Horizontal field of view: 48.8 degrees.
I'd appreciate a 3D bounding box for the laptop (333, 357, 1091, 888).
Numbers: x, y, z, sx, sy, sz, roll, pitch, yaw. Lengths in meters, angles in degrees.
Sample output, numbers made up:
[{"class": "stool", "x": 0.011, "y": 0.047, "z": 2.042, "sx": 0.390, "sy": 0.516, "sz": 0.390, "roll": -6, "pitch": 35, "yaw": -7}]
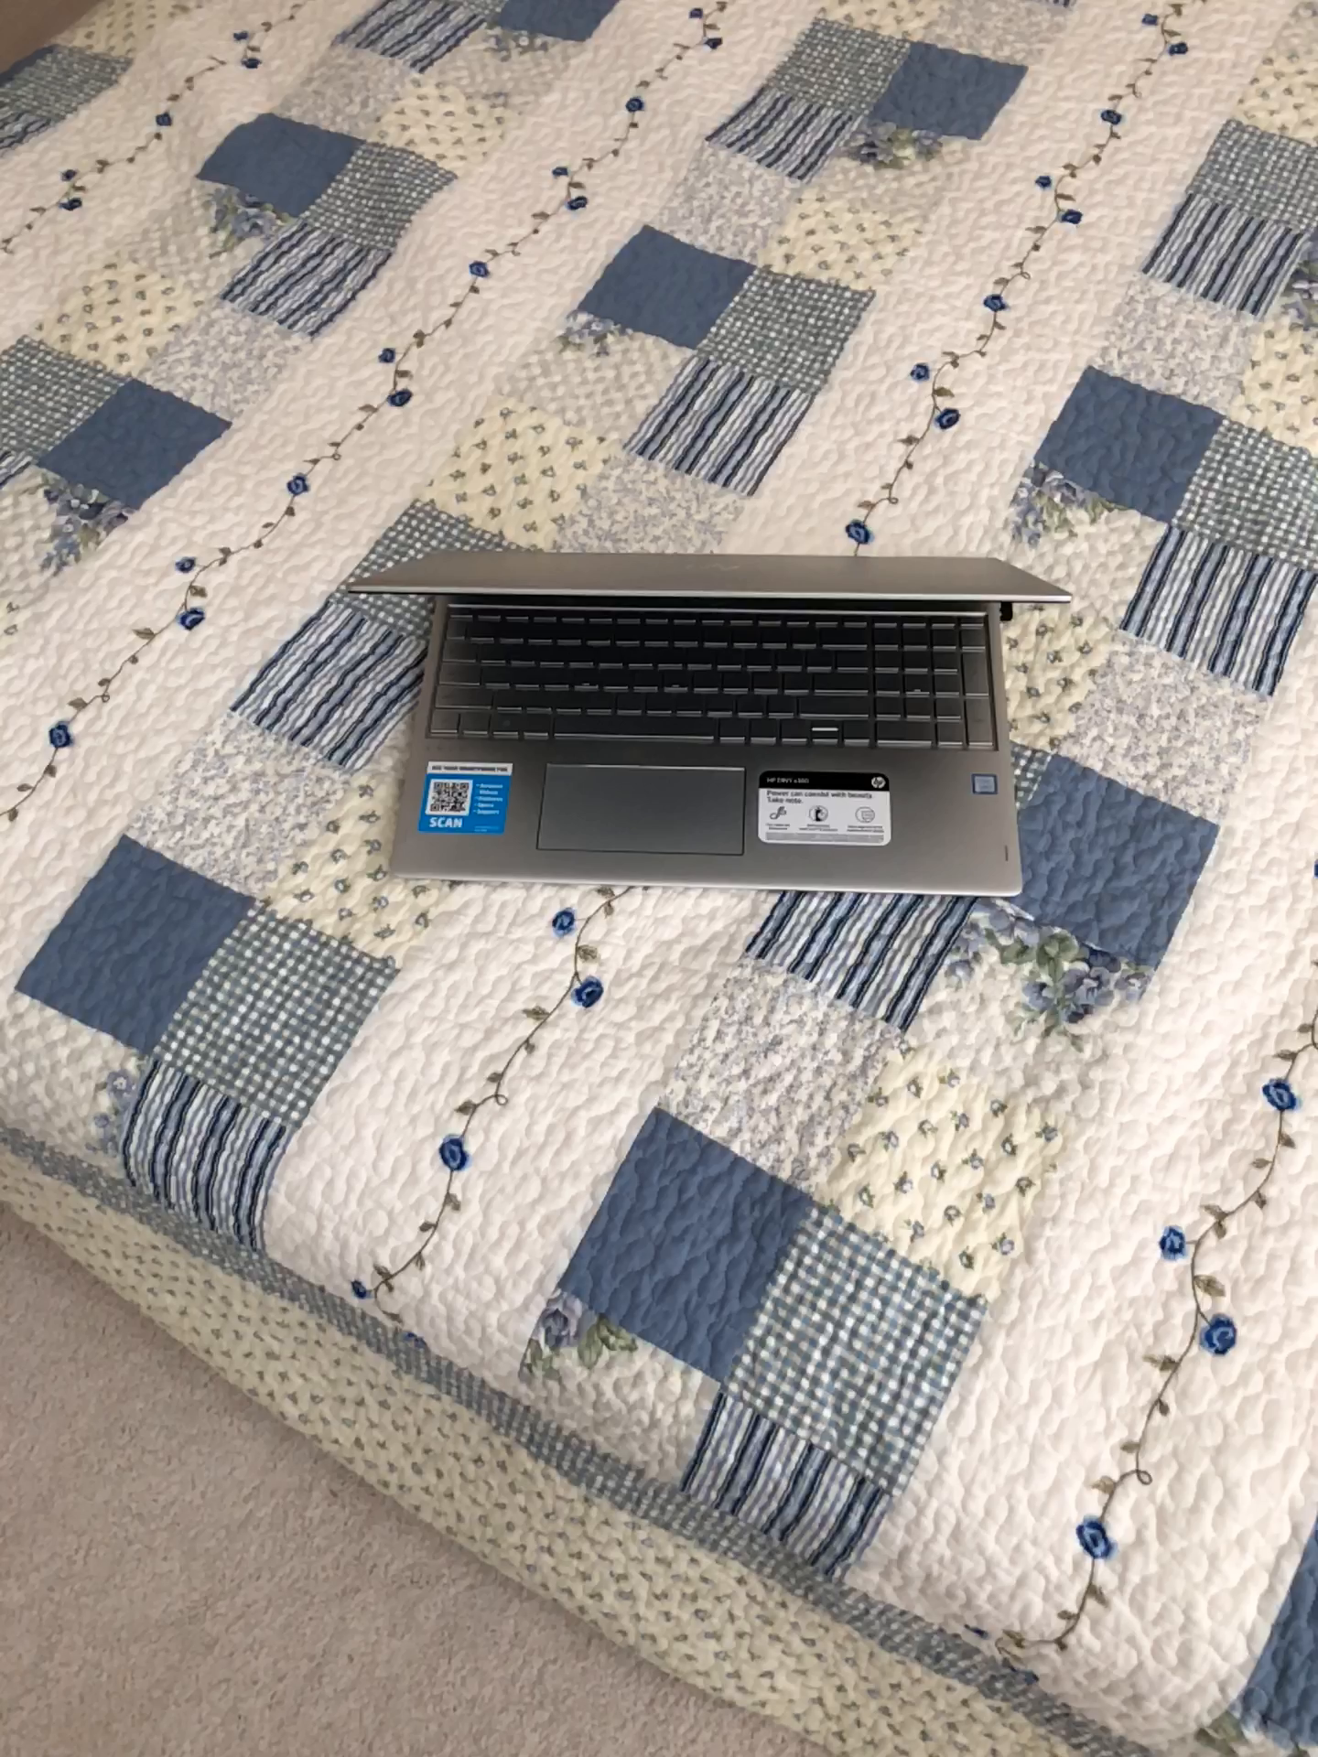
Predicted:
[{"class": "laptop", "x": 0.029, "y": -0.142, "z": 0.799, "sx": 0.348, "sy": 0.158, "sz": 0.242, "roll": 1, "pitch": 58, "yaw": 3}]
